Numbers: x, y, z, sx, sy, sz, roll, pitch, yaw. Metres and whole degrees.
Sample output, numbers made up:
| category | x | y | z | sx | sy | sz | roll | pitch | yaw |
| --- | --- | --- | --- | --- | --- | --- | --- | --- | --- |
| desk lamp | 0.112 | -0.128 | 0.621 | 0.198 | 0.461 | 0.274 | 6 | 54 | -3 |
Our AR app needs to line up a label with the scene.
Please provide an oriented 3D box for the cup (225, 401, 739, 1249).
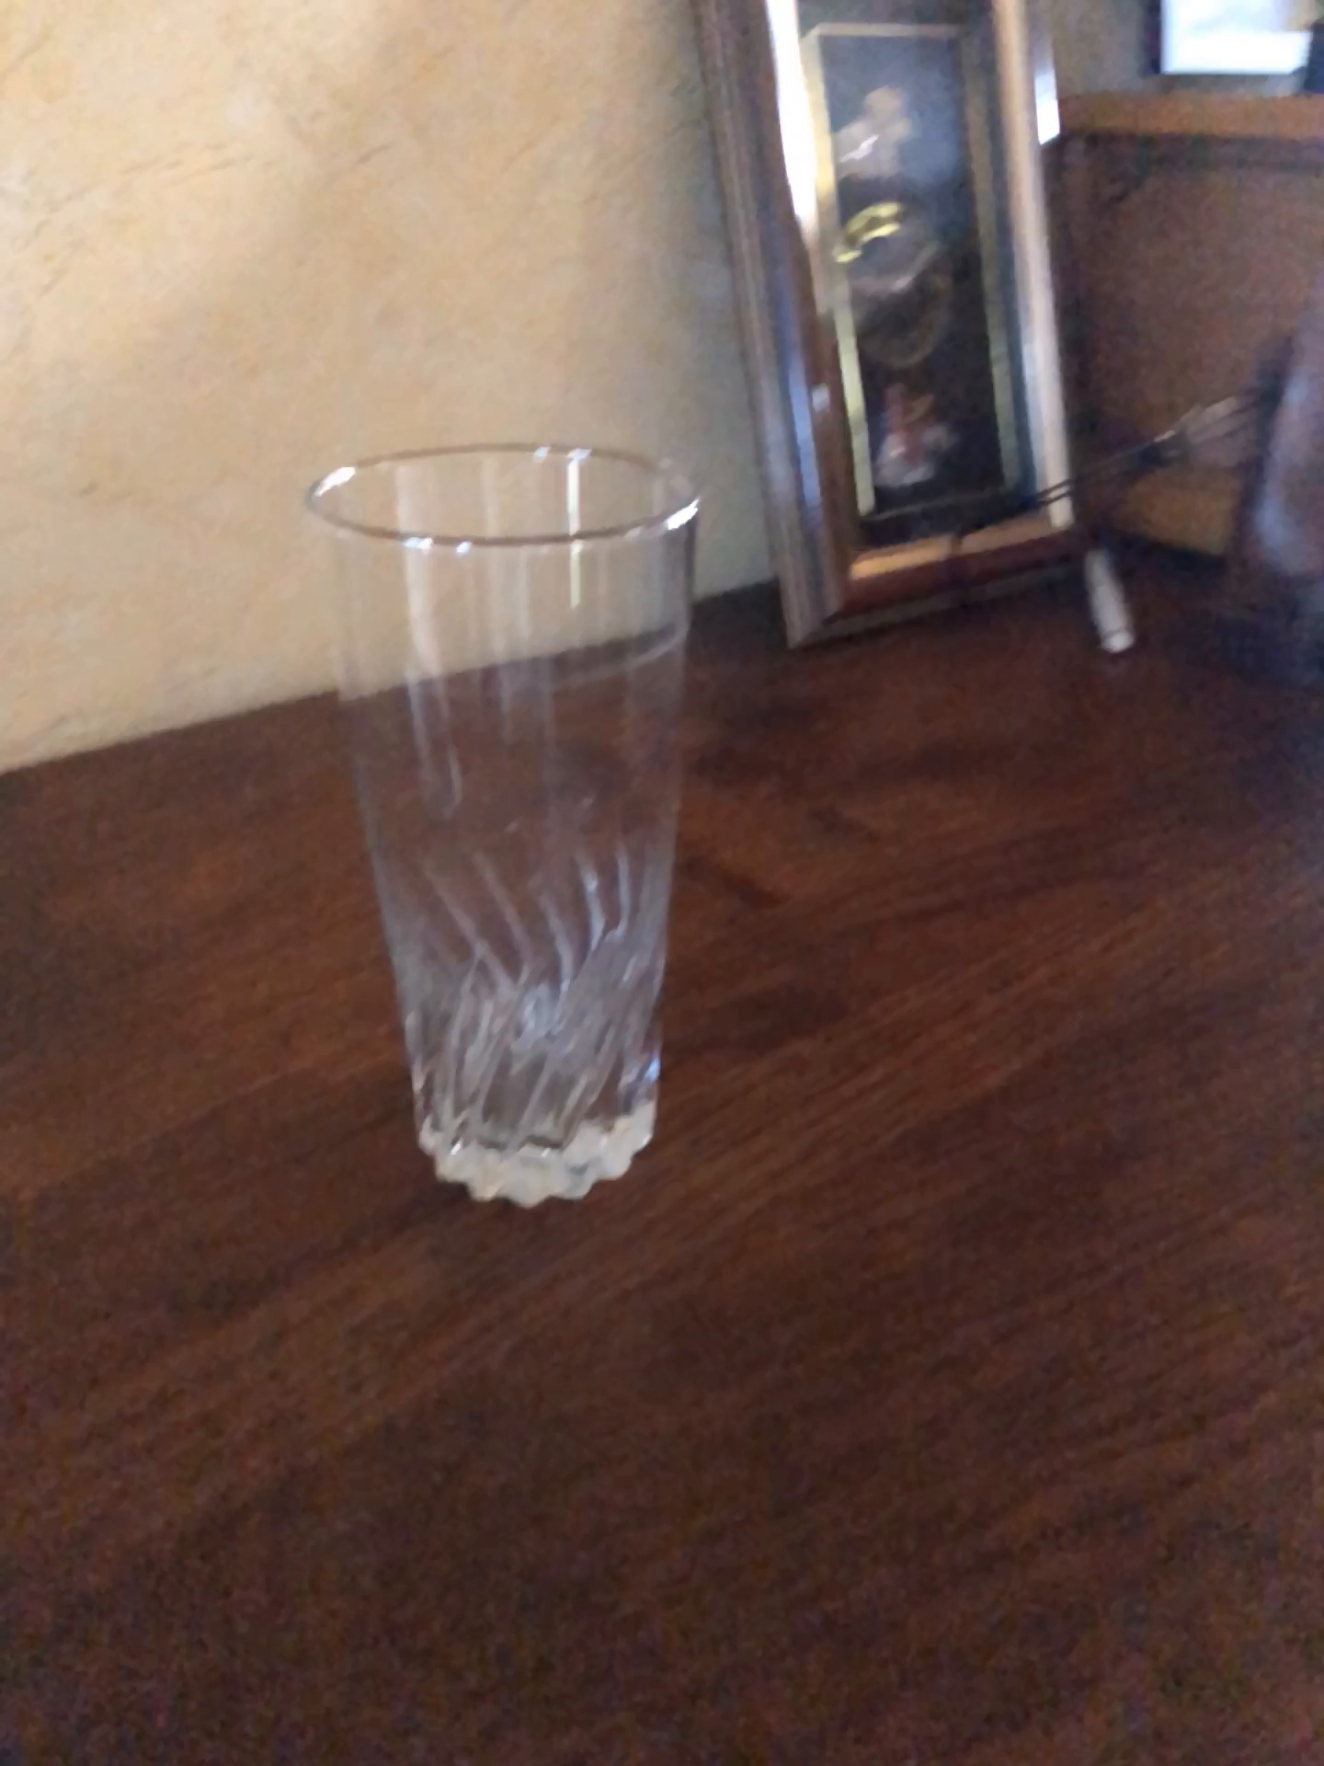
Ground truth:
| category | x | y | z | sx | sy | sz | roll | pitch | yaw |
| --- | --- | --- | --- | --- | --- | --- | --- | --- | --- |
| cup | -0.029 | -0.013 | 0.299 | 0.070 | 0.149 | 0.070 | 0 | 28 | 0 |
